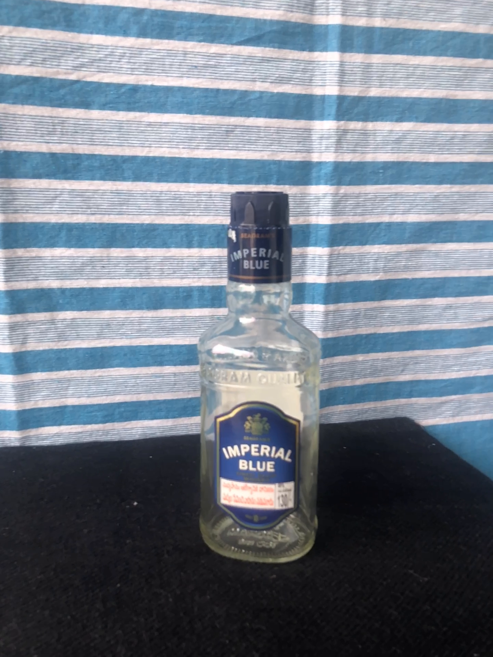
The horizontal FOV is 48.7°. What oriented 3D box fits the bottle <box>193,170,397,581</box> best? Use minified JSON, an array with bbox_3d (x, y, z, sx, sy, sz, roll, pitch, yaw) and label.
[{"bbox_3d":[0.018,0.019,0.244,0.070,0.169,0.050,5,15,6],"label":"bottle"}]
